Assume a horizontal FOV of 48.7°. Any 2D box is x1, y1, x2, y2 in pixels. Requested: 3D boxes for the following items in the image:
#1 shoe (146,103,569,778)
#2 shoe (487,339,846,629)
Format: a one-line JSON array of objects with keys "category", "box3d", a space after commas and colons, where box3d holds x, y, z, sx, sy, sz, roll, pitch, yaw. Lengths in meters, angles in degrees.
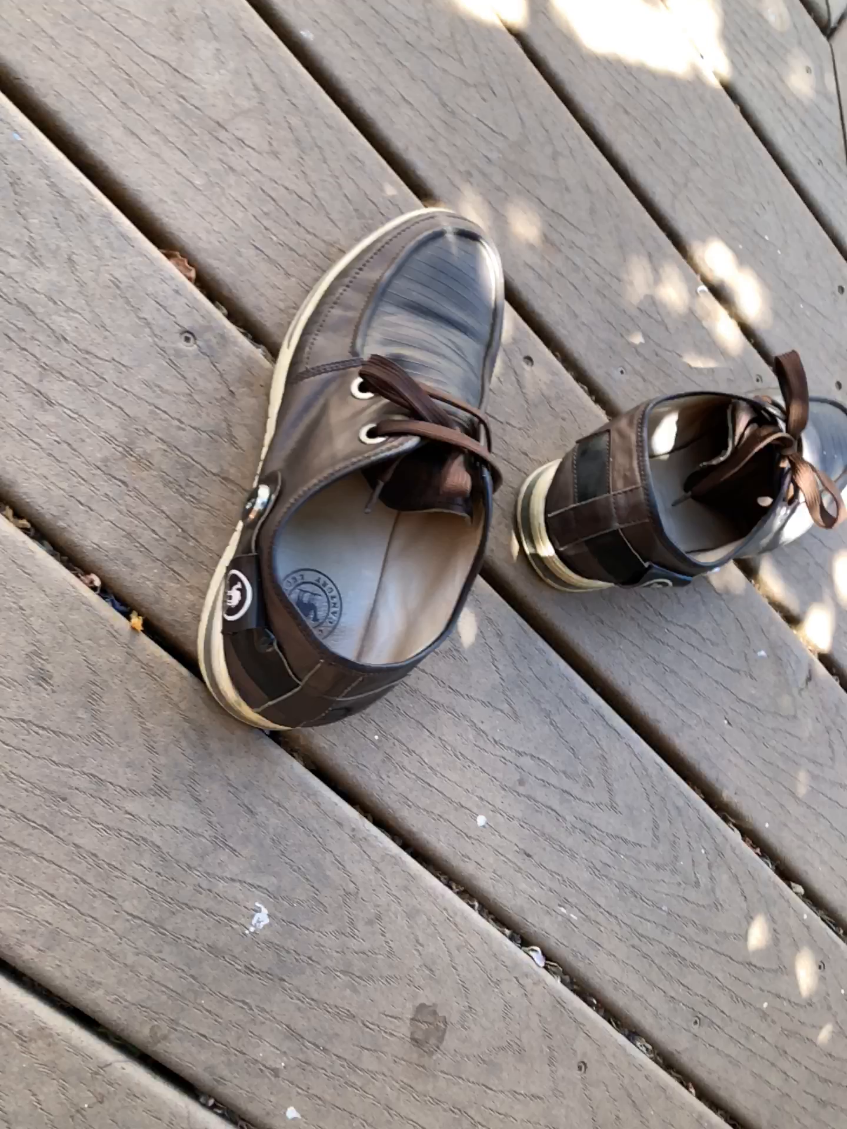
[{"category": "shoe", "box3d": [-0.023, -0.056, 0.443, 0.111, 0.069, 0.286, 23, 71, -26]}, {"category": "shoe", "box3d": [0.192, -0.053, 0.560, 0.287, 0.099, 0.110, -14, 90, -32]}]
